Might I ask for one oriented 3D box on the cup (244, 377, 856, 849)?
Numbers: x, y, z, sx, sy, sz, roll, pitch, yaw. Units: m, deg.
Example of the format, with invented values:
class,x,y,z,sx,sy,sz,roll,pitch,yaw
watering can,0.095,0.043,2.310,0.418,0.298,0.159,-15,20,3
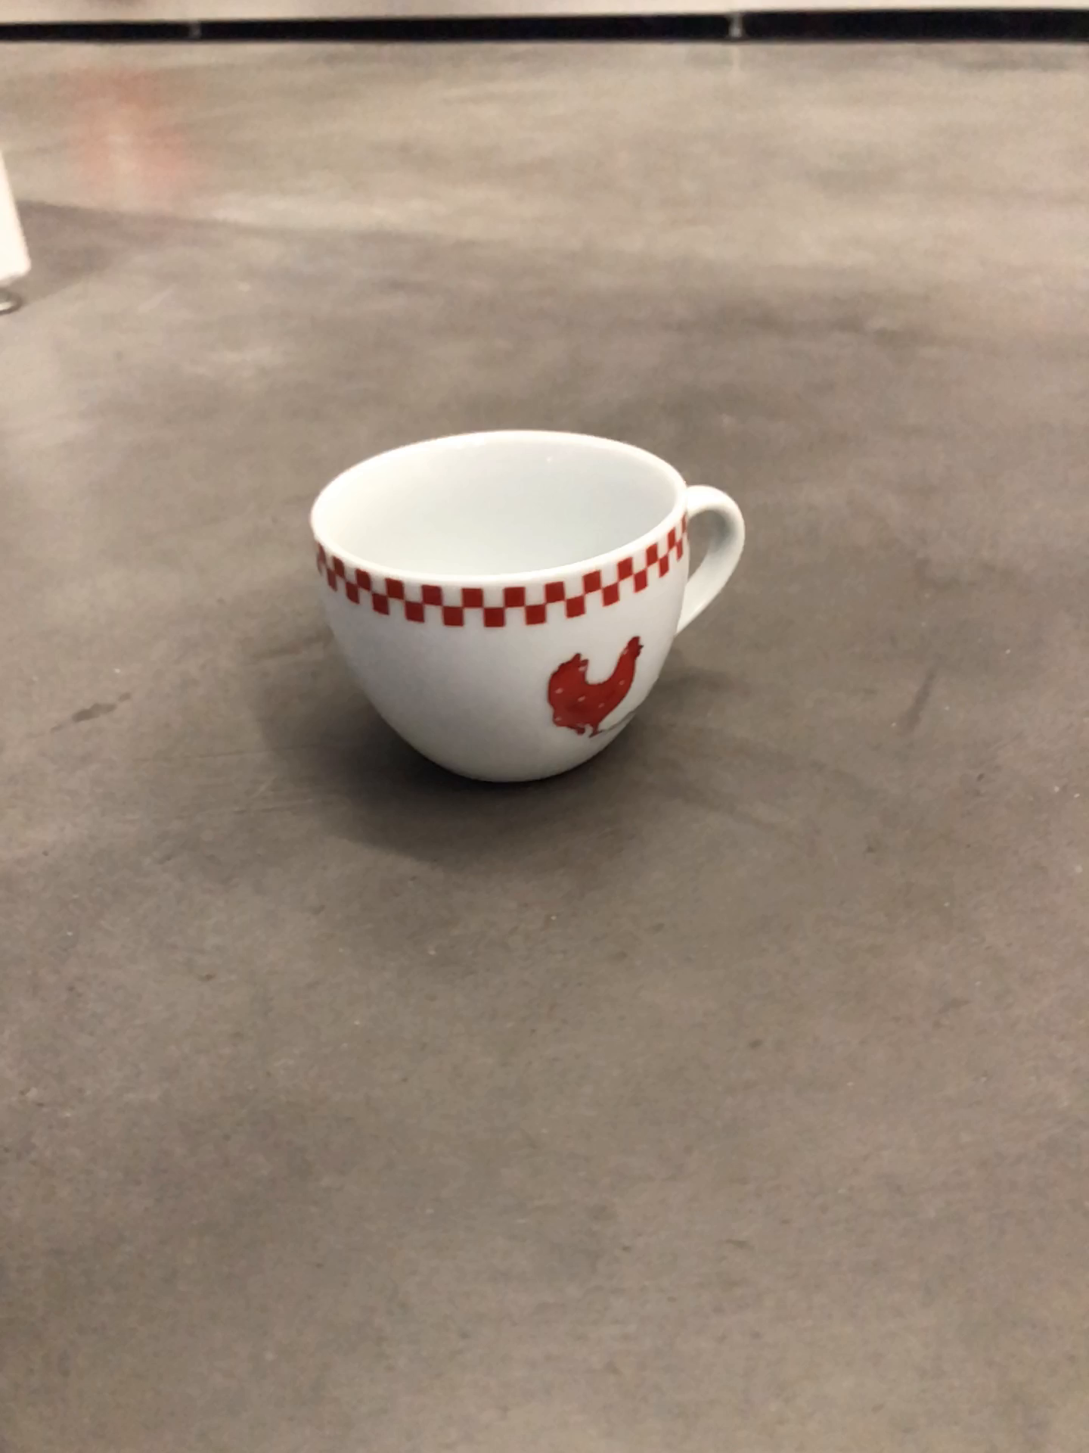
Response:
class,x,y,z,sx,sy,sz,roll,pitch,yaw
cup,0.000,-0.035,0.290,0.111,0.058,0.089,-18,34,-22
